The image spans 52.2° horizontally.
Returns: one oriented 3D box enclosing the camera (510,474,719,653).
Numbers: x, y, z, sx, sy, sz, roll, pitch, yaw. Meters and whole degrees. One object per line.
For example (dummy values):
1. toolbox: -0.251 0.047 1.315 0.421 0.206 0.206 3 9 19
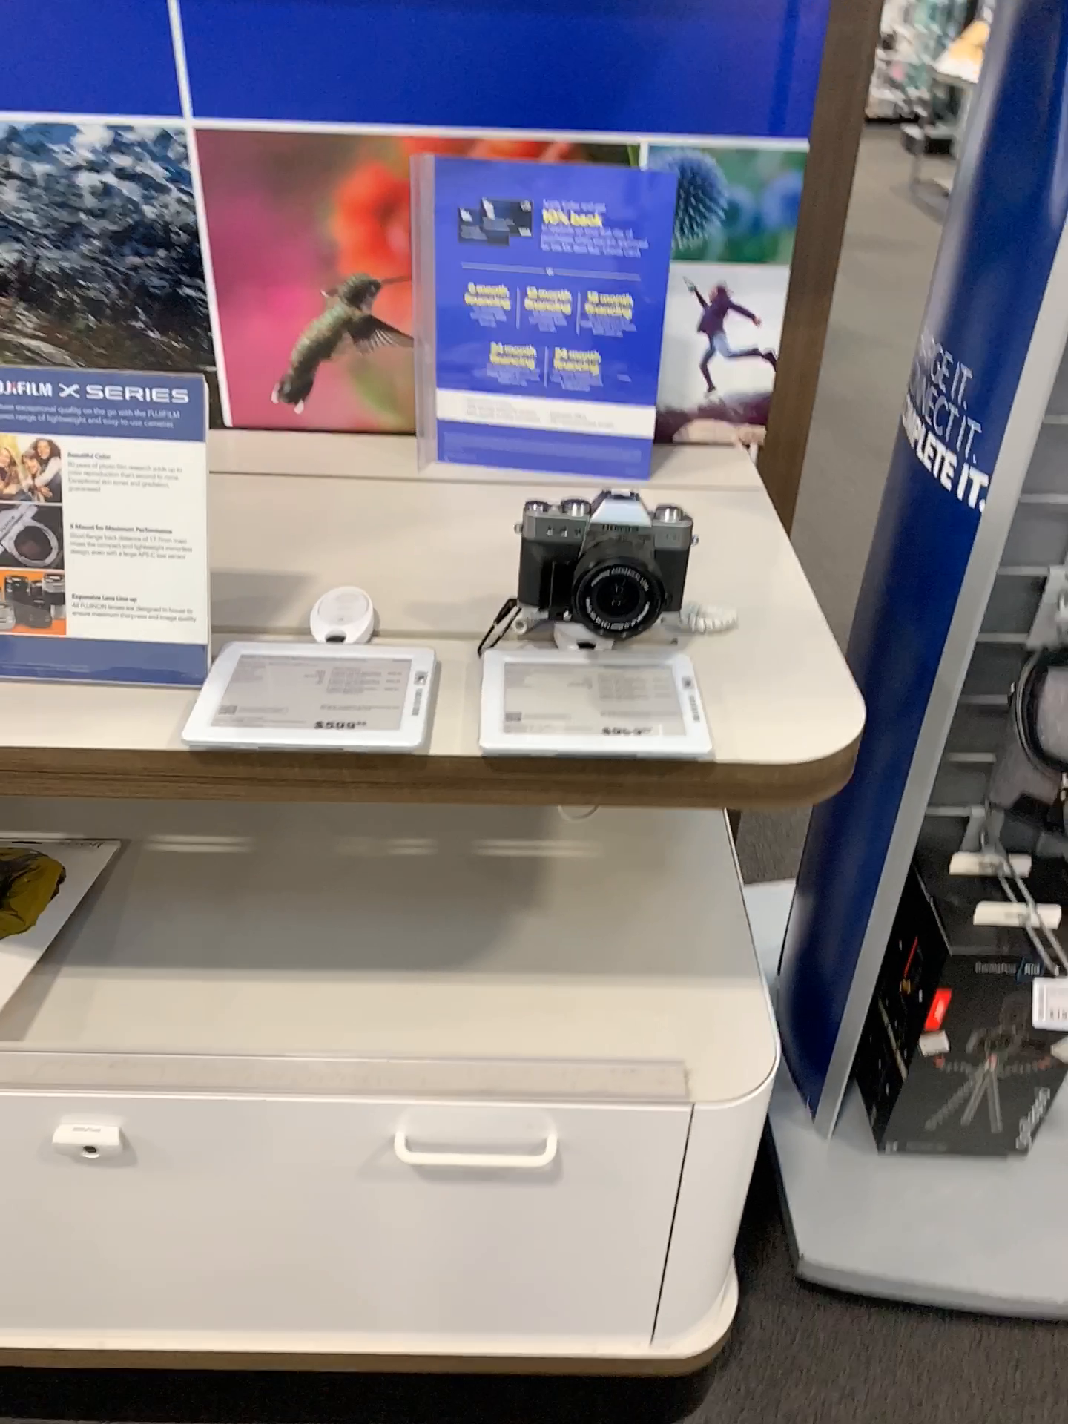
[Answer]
1. camera: 0.051 -0.103 0.747 0.130 0.080 0.101 2 35 0
